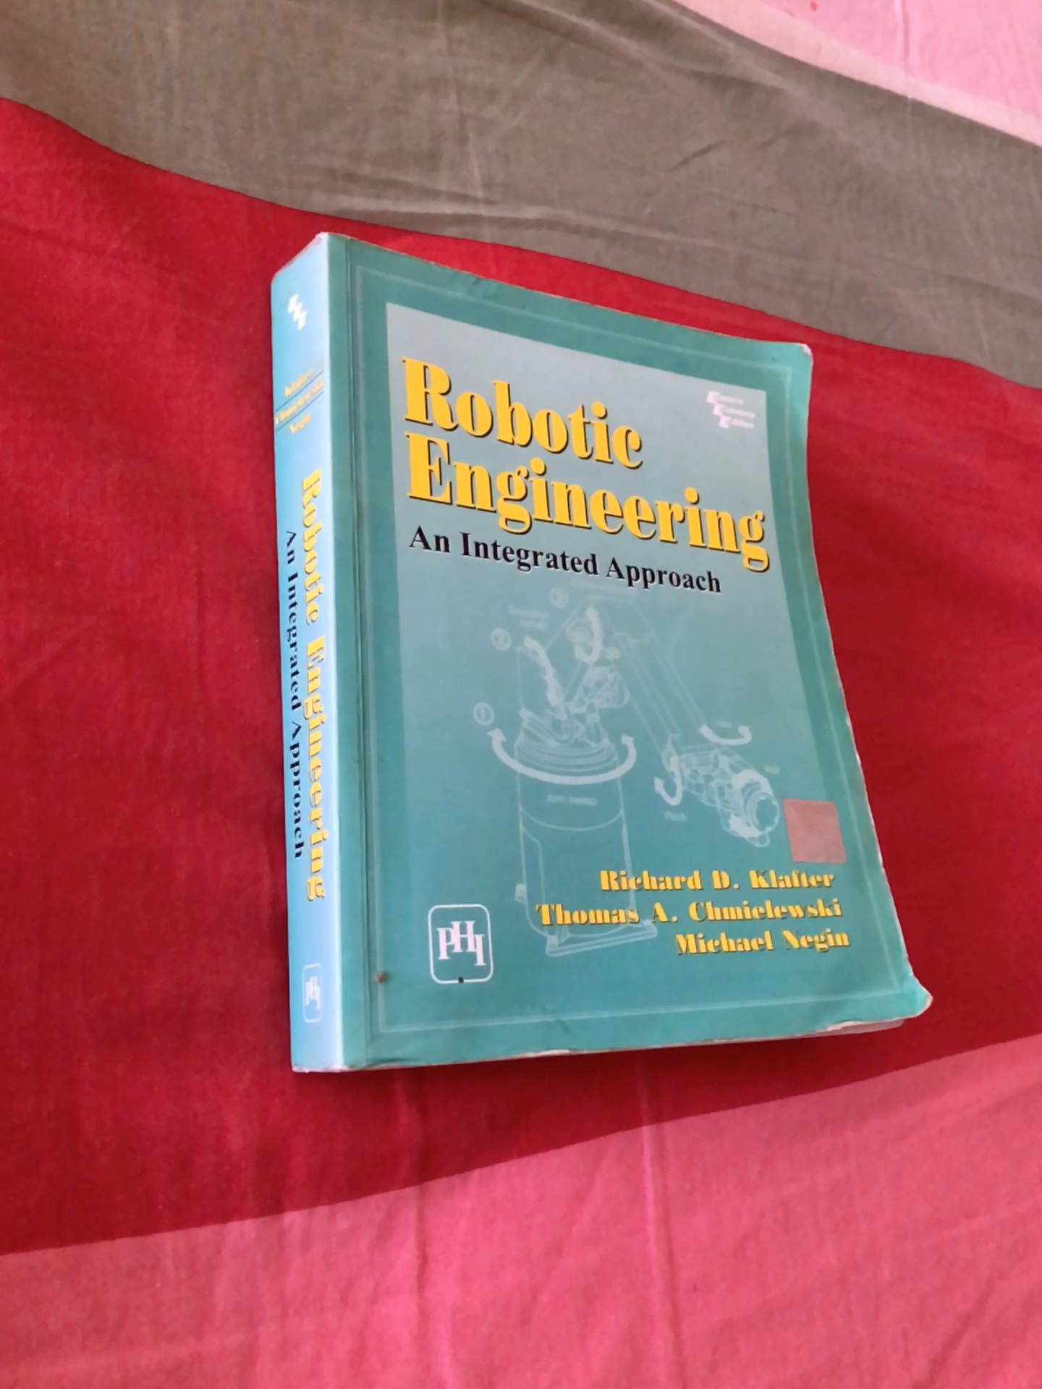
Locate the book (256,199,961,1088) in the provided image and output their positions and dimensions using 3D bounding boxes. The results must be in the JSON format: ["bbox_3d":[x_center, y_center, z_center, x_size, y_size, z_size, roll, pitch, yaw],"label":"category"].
[{"bbox_3d":[0.022,-0.011,0.310,0.172,0.043,0.205,5,70,-29],"label":"book"}]
